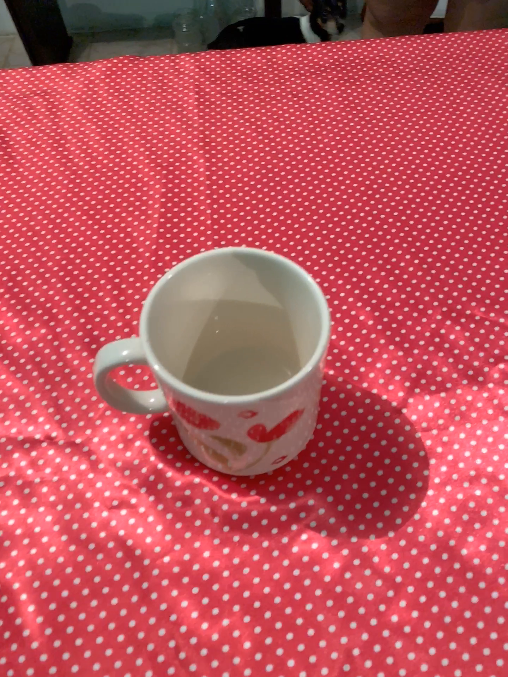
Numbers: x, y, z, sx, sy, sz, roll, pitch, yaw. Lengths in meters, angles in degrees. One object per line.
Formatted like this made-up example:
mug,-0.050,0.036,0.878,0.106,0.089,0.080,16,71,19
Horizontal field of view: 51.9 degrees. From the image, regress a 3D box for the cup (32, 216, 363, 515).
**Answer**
cup,-0.025,0.016,0.249,0.120,0.090,0.090,-10,57,-4
